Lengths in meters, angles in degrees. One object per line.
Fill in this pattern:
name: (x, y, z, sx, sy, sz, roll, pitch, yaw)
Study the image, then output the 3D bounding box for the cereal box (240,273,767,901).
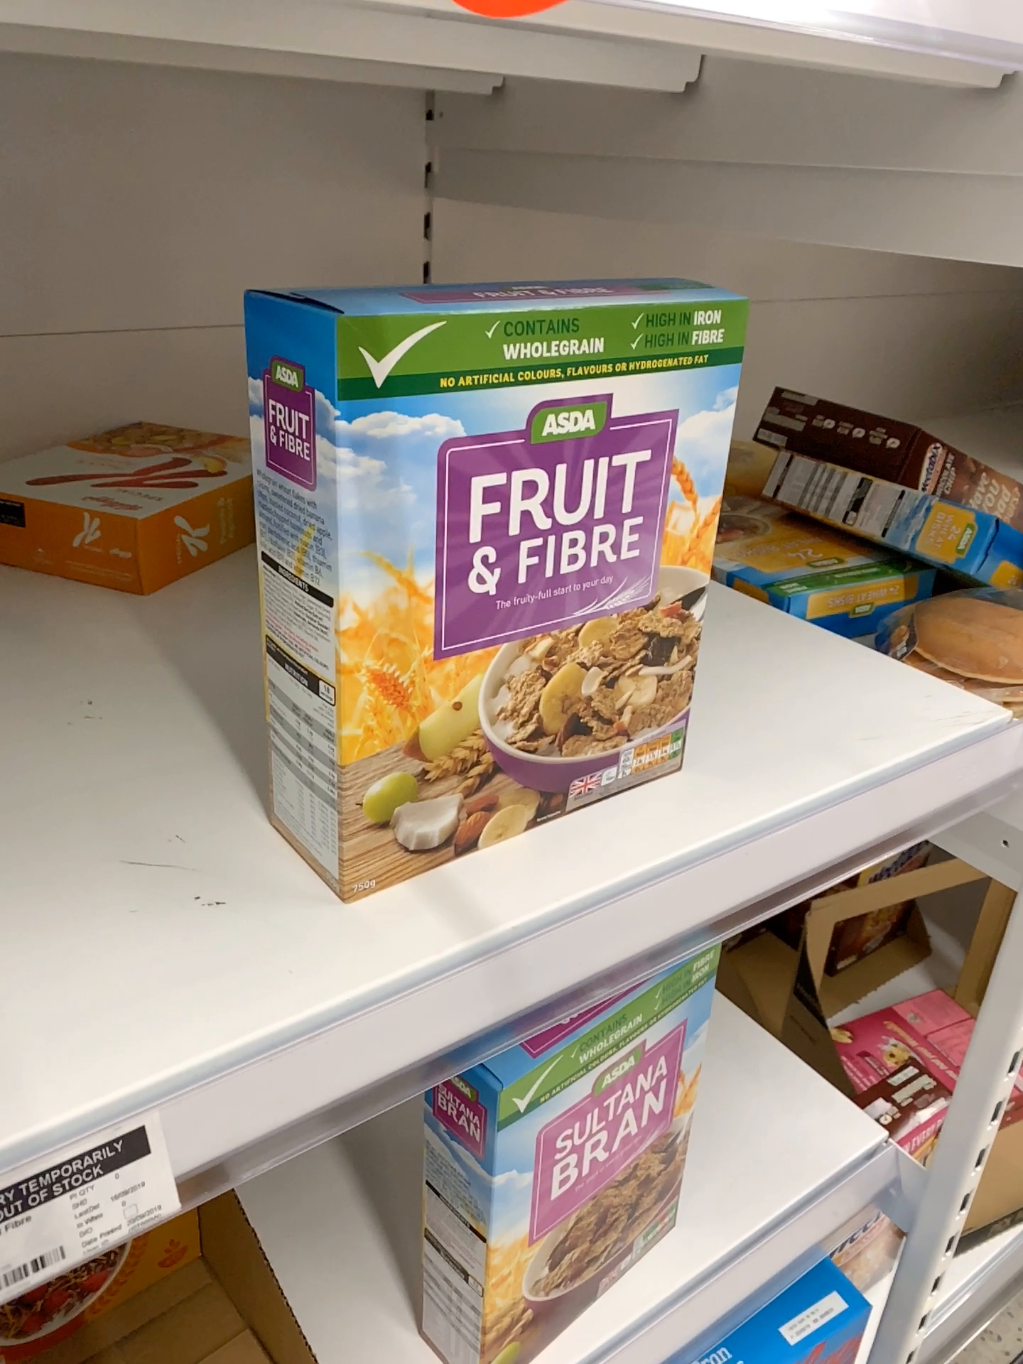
cereal box: (-0.001, -0.058, 0.518, 0.231, 0.258, 0.080, -16, 32, -34)
